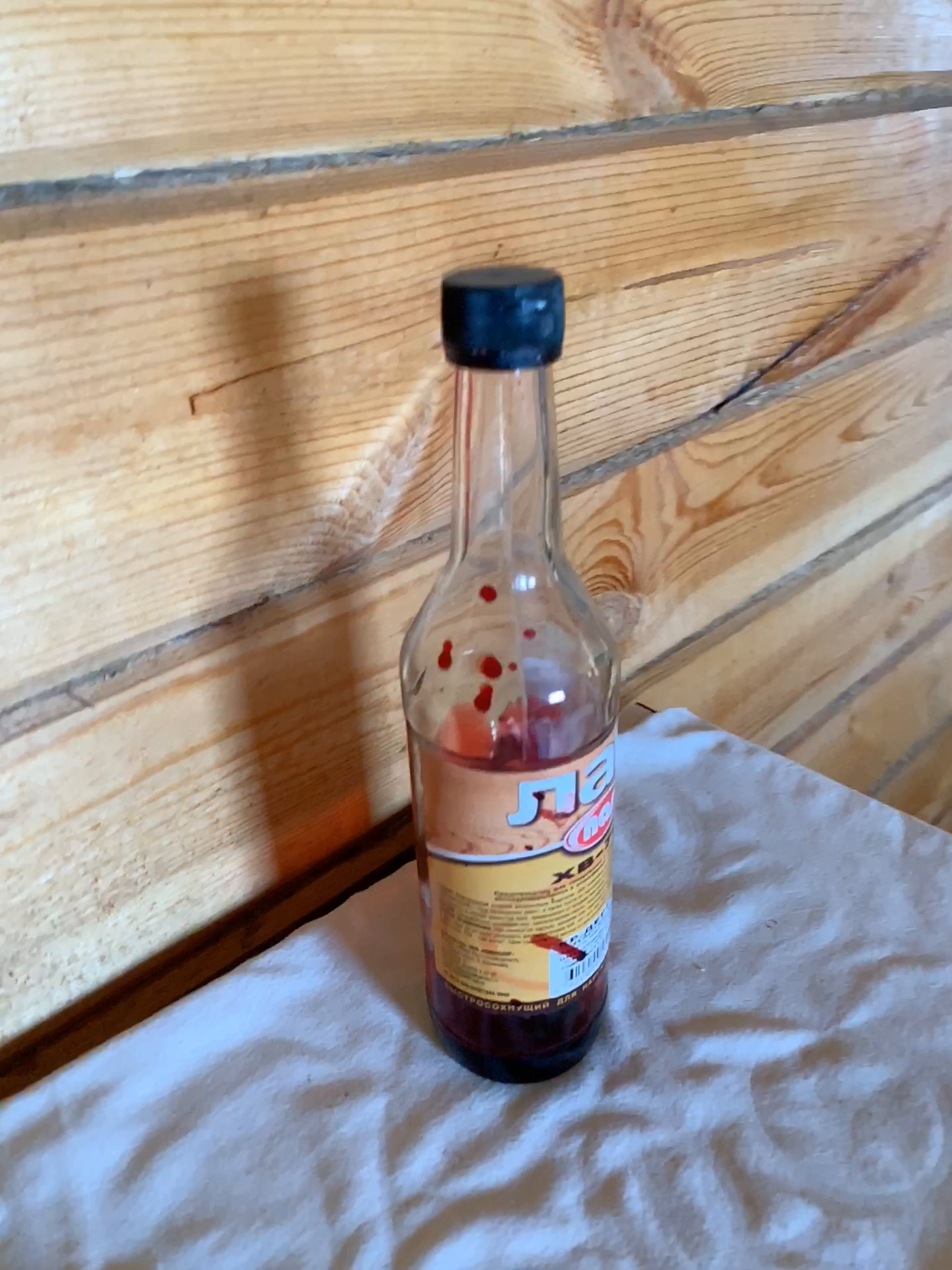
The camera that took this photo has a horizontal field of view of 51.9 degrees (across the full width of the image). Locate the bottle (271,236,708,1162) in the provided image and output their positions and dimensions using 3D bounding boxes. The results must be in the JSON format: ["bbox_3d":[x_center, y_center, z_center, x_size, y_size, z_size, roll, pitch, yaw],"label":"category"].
[{"bbox_3d":[0.012,0.026,0.292,0.070,0.258,0.081,16,34,32],"label":"bottle"}]
